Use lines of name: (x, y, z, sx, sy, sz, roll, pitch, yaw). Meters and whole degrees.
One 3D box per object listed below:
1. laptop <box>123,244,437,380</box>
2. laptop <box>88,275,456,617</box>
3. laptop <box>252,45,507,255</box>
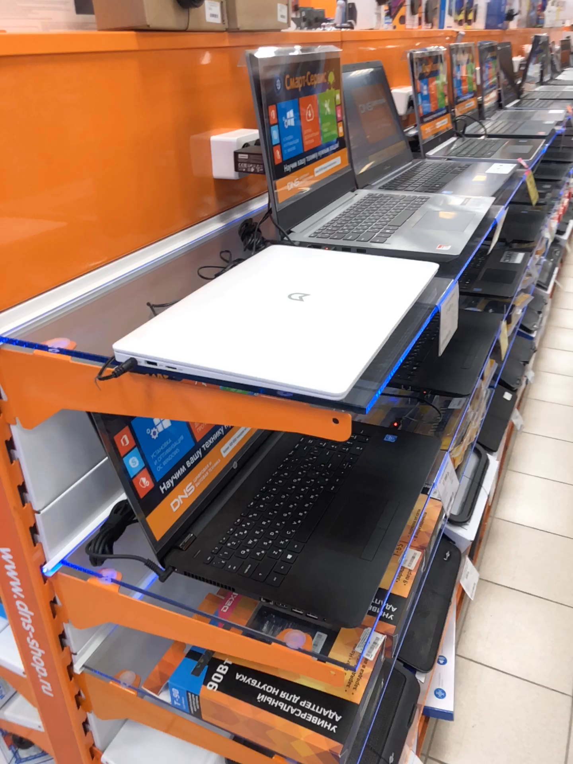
laptop: (0.015, -0.089, 0.644, 0.212, 0.002, 0.314, 11, 30, 22)
laptop: (0.008, 0.043, 0.815, 0.306, 0.228, 0.365, 11, 31, 24)
laptop: (0.148, -0.356, 0.910, 0.279, 0.224, 0.345, 9, 30, 20)
